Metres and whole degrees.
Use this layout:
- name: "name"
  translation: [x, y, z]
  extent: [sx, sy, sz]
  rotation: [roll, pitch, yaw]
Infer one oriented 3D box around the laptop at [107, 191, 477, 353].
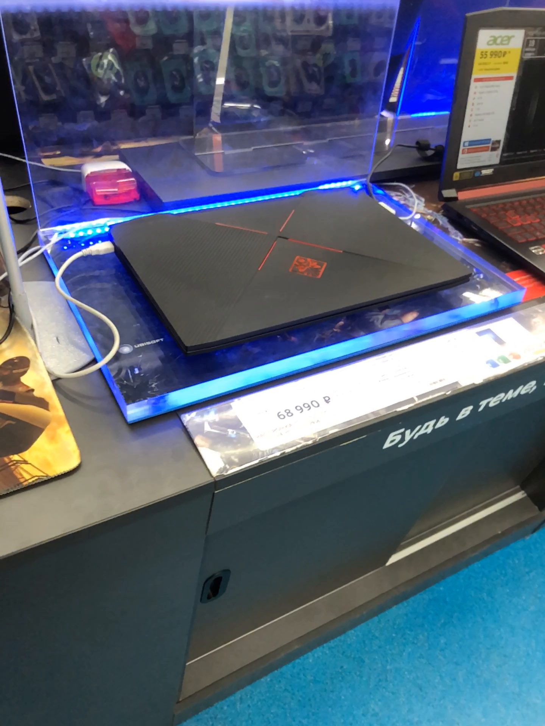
- name: "laptop"
  translation: [0.020, -0.124, 0.689]
  extent: [0.350, 0.003, 0.238]
  rotation: [-16, 45, -24]
